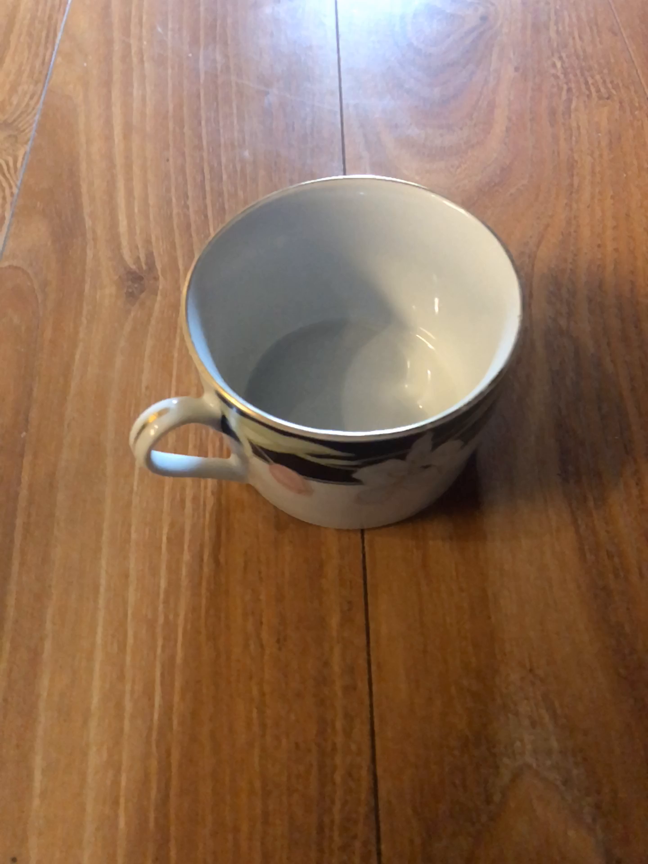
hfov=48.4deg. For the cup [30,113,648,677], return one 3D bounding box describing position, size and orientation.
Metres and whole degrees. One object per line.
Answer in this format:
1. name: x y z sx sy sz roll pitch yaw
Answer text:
1. cup: 0.003 -0.013 0.190 0.110 0.060 0.090 -32 63 -14
